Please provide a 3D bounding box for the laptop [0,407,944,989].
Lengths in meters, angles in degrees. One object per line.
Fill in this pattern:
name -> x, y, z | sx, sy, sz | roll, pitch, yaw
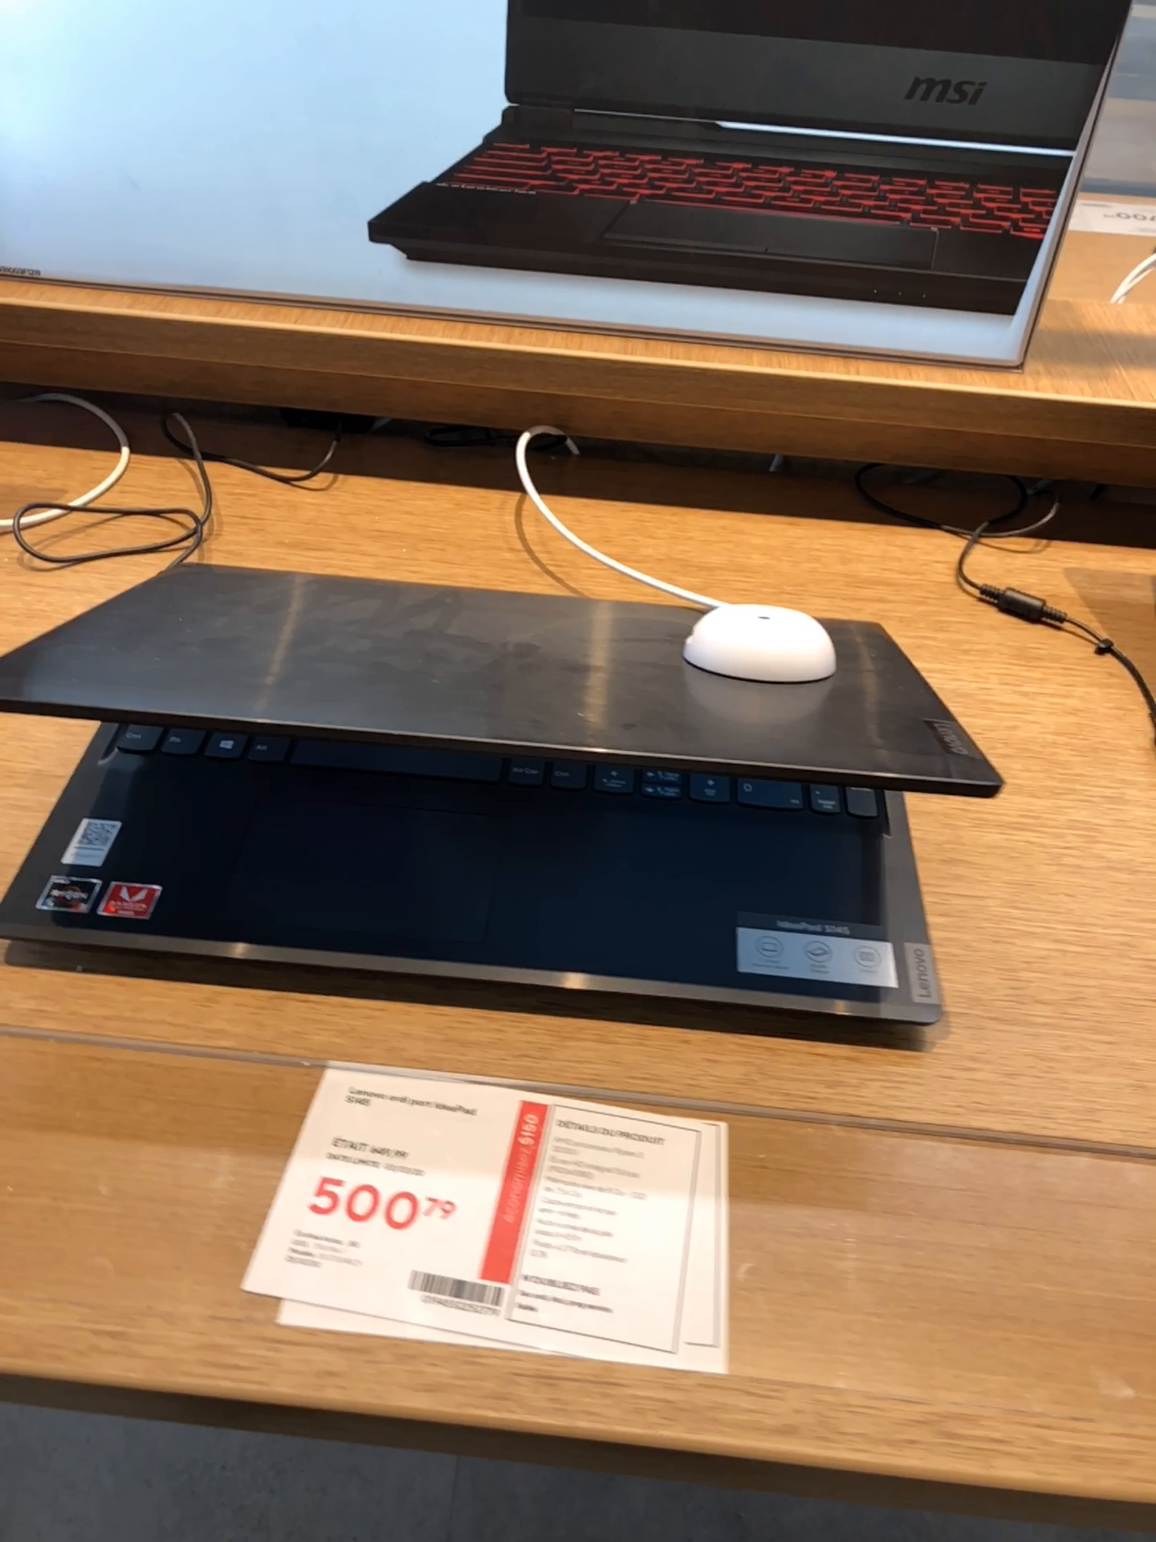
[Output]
laptop -> -0.037, -0.041, 0.522 | 0.330, 0.083, 0.224 | 5, 43, -1
